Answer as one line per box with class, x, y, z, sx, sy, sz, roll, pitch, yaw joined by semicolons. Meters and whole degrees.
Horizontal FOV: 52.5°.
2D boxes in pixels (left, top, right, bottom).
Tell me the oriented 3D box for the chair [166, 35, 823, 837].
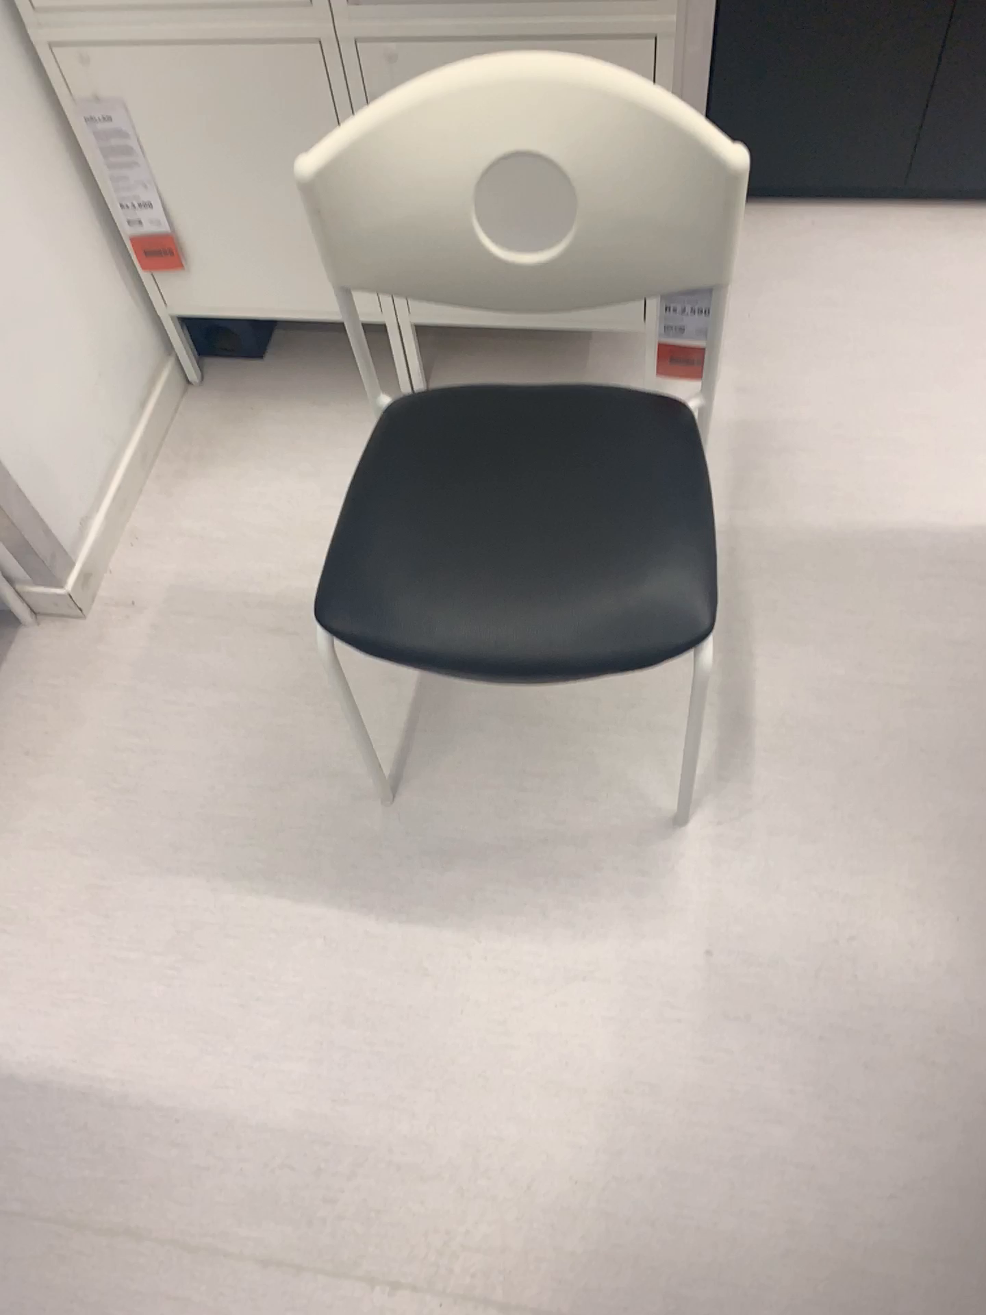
chair;0.049;-0.187;1.183;0.480;0.768;0.511;2;58;7
